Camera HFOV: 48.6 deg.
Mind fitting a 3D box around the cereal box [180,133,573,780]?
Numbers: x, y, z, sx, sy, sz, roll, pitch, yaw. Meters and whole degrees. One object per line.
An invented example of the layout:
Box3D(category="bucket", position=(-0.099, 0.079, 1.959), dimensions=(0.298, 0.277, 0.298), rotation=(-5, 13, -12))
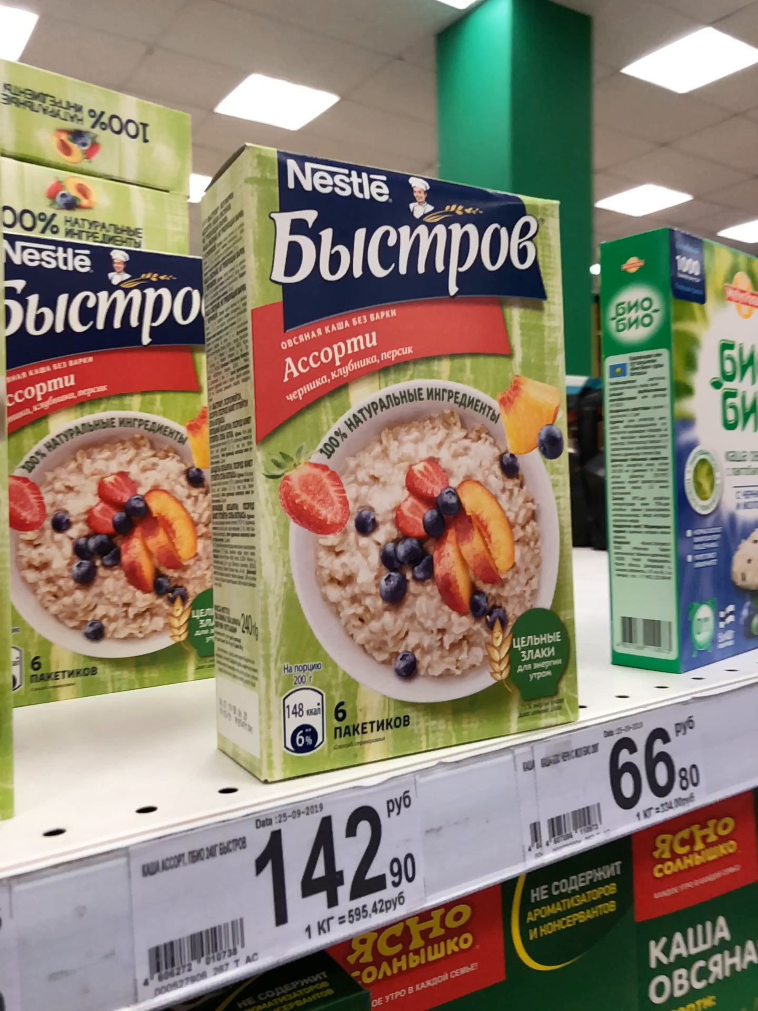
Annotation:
Box3D(category="cereal box", position=(0.001, -0.017, 0.311), dimensions=(0.130, 0.200, 0.050), rotation=(-2, -1, -28))
